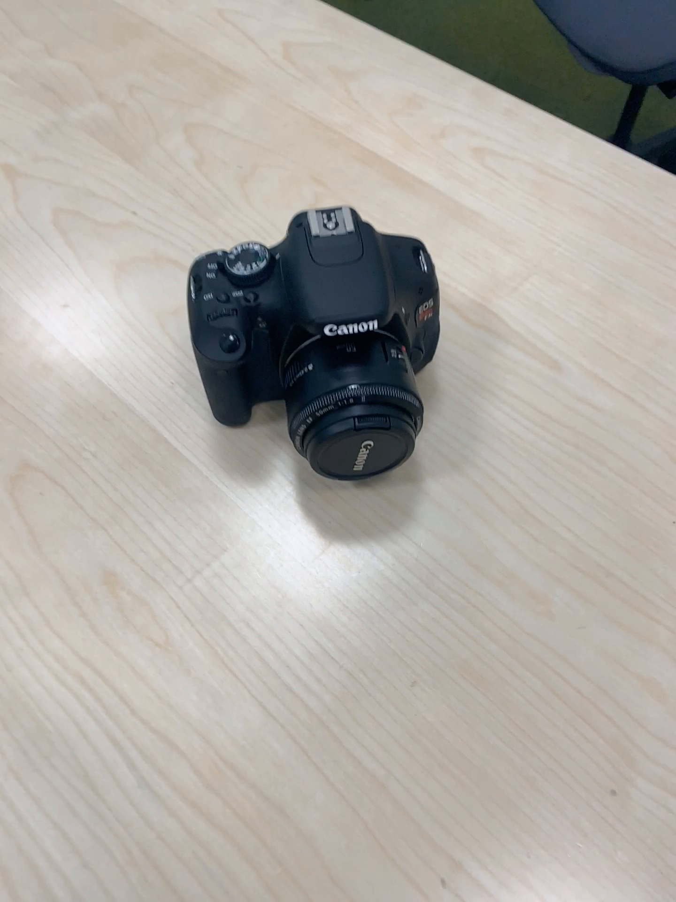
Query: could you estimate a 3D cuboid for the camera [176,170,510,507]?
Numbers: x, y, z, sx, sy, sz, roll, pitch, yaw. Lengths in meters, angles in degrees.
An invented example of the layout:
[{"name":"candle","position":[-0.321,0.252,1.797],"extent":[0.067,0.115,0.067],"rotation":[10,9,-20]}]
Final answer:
[{"name":"camera","position":[-0.003,-0.055,0.347],"extent":[0.130,0.090,0.120],"rotation":[-8,59,-3]}]
